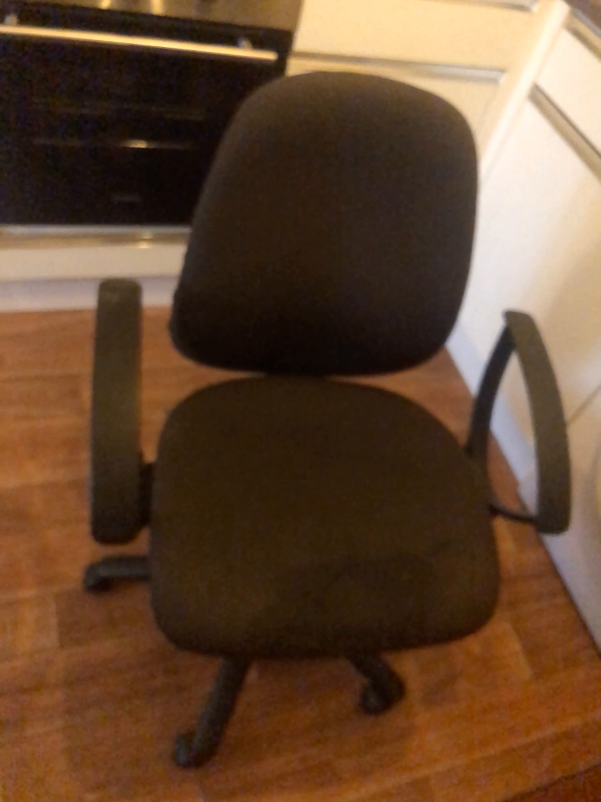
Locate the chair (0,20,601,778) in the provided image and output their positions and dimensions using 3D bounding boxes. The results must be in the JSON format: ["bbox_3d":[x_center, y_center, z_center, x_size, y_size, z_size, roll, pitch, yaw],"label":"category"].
[{"bbox_3d":[0.025,0.080,0.988,0.673,0.816,0.655,4,51,-14],"label":"chair"}]
